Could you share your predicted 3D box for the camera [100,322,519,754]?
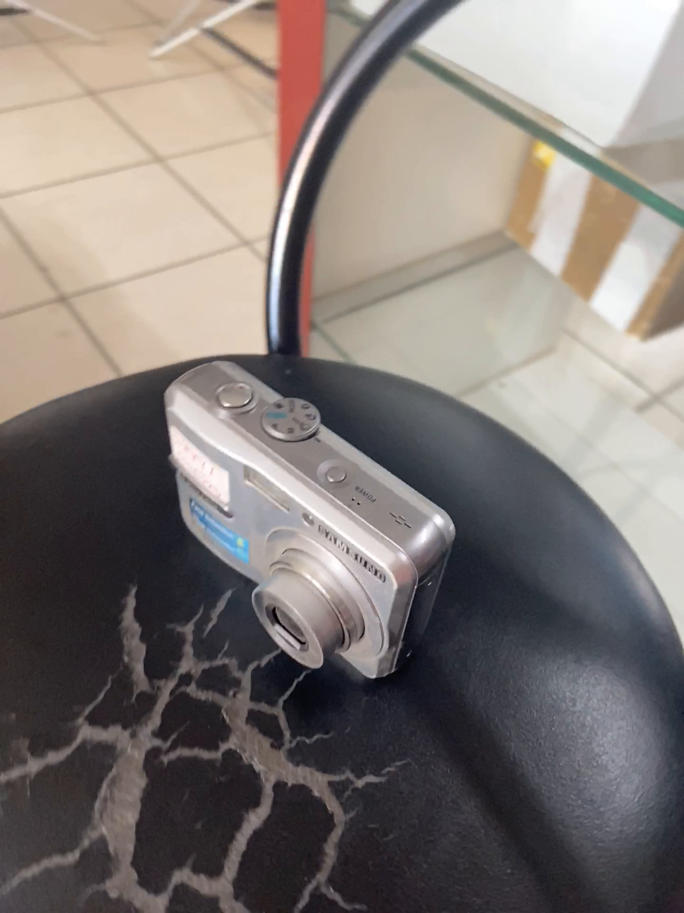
[{"bbox_3d":[-0.013,0.020,0.204,0.100,0.060,0.050,37,54,24],"label":"camera"}]
